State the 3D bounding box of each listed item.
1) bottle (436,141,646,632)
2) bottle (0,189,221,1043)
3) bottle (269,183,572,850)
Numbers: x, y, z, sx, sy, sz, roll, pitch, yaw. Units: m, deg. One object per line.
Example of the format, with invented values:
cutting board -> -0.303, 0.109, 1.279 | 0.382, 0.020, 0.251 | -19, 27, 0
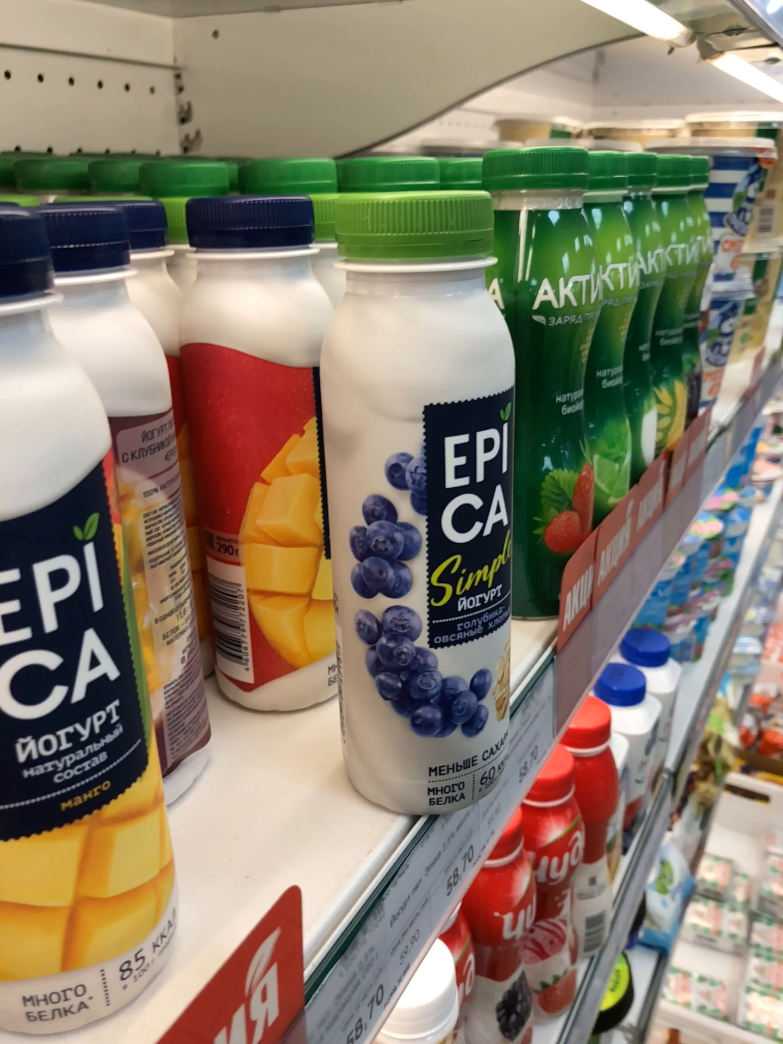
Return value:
bottle -> 0.056, -0.054, 0.353 | 0.053, 0.182, 0.052 | 0, 21, 0
bottle -> -0.077, 0.024, 0.178 | 0.053, 0.170, 0.049 | 0, 21, 0
bottle -> 0.007, -0.003, 0.243 | 0.053, 0.170, 0.052 | 0, 21, 0
